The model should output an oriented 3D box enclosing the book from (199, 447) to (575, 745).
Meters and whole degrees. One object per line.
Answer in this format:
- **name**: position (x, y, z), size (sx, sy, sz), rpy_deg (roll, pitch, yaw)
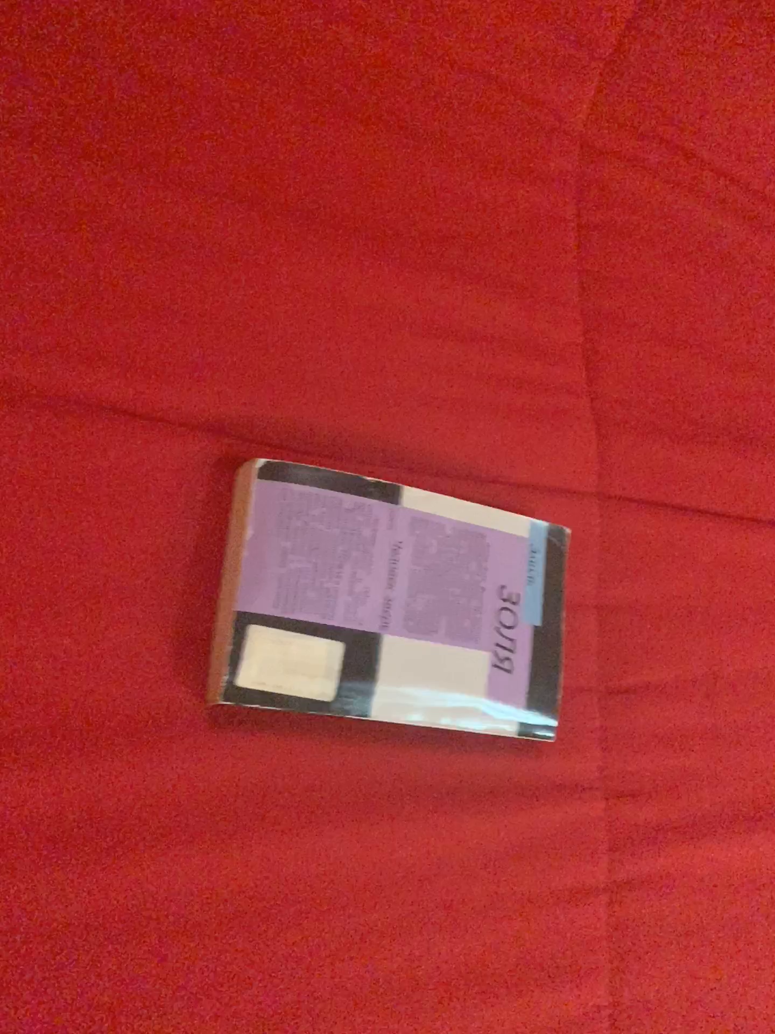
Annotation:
- **book**: position (0.008, 0.043, 0.375), size (0.171, 0.034, 0.109), rpy_deg (13, 73, -24)
